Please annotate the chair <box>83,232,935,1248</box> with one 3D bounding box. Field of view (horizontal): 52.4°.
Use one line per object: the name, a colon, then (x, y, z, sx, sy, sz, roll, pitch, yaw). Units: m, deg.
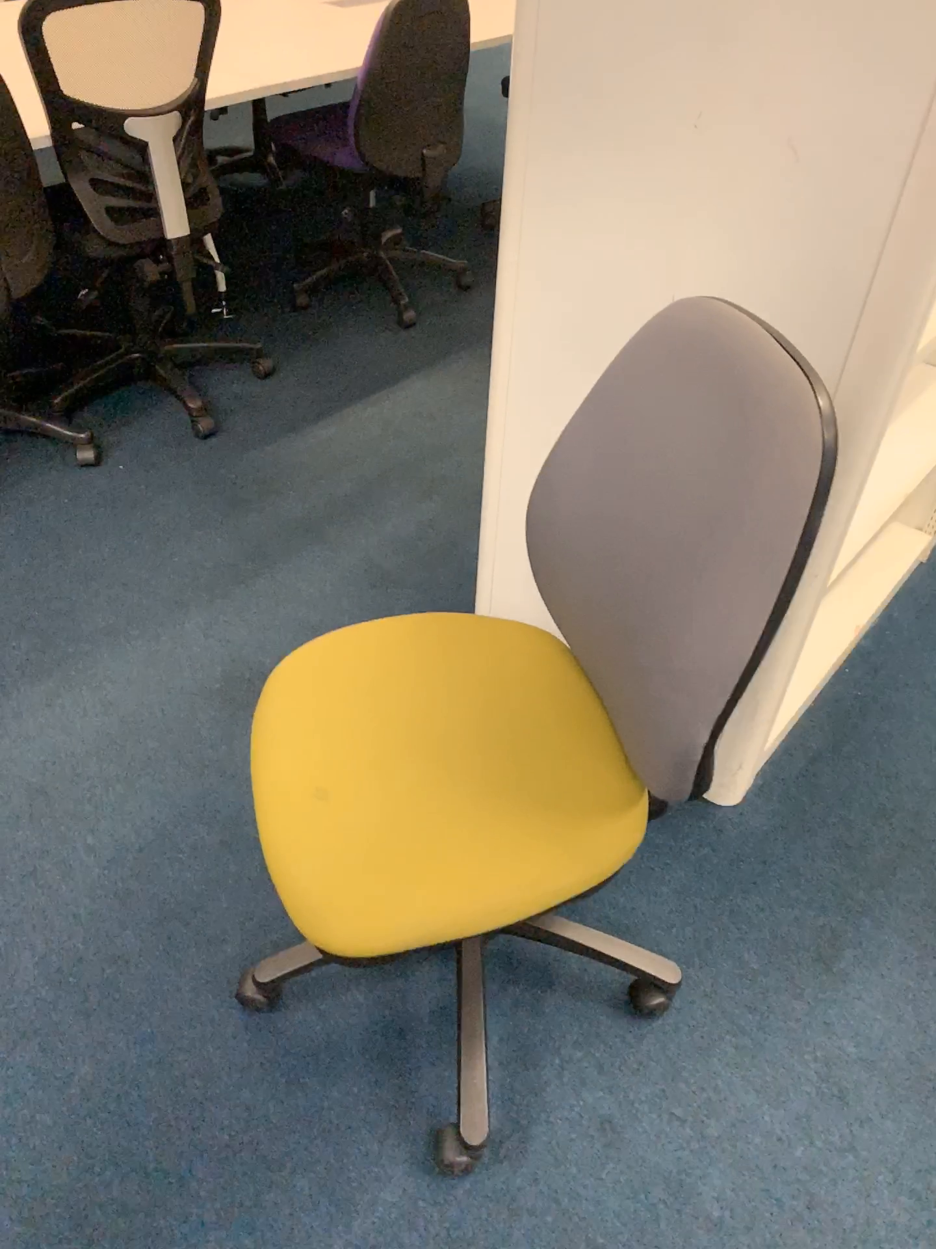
chair: (-0.005, 0.137, 1.131, 0.661, 0.921, 0.646, -9, 43, -14)
